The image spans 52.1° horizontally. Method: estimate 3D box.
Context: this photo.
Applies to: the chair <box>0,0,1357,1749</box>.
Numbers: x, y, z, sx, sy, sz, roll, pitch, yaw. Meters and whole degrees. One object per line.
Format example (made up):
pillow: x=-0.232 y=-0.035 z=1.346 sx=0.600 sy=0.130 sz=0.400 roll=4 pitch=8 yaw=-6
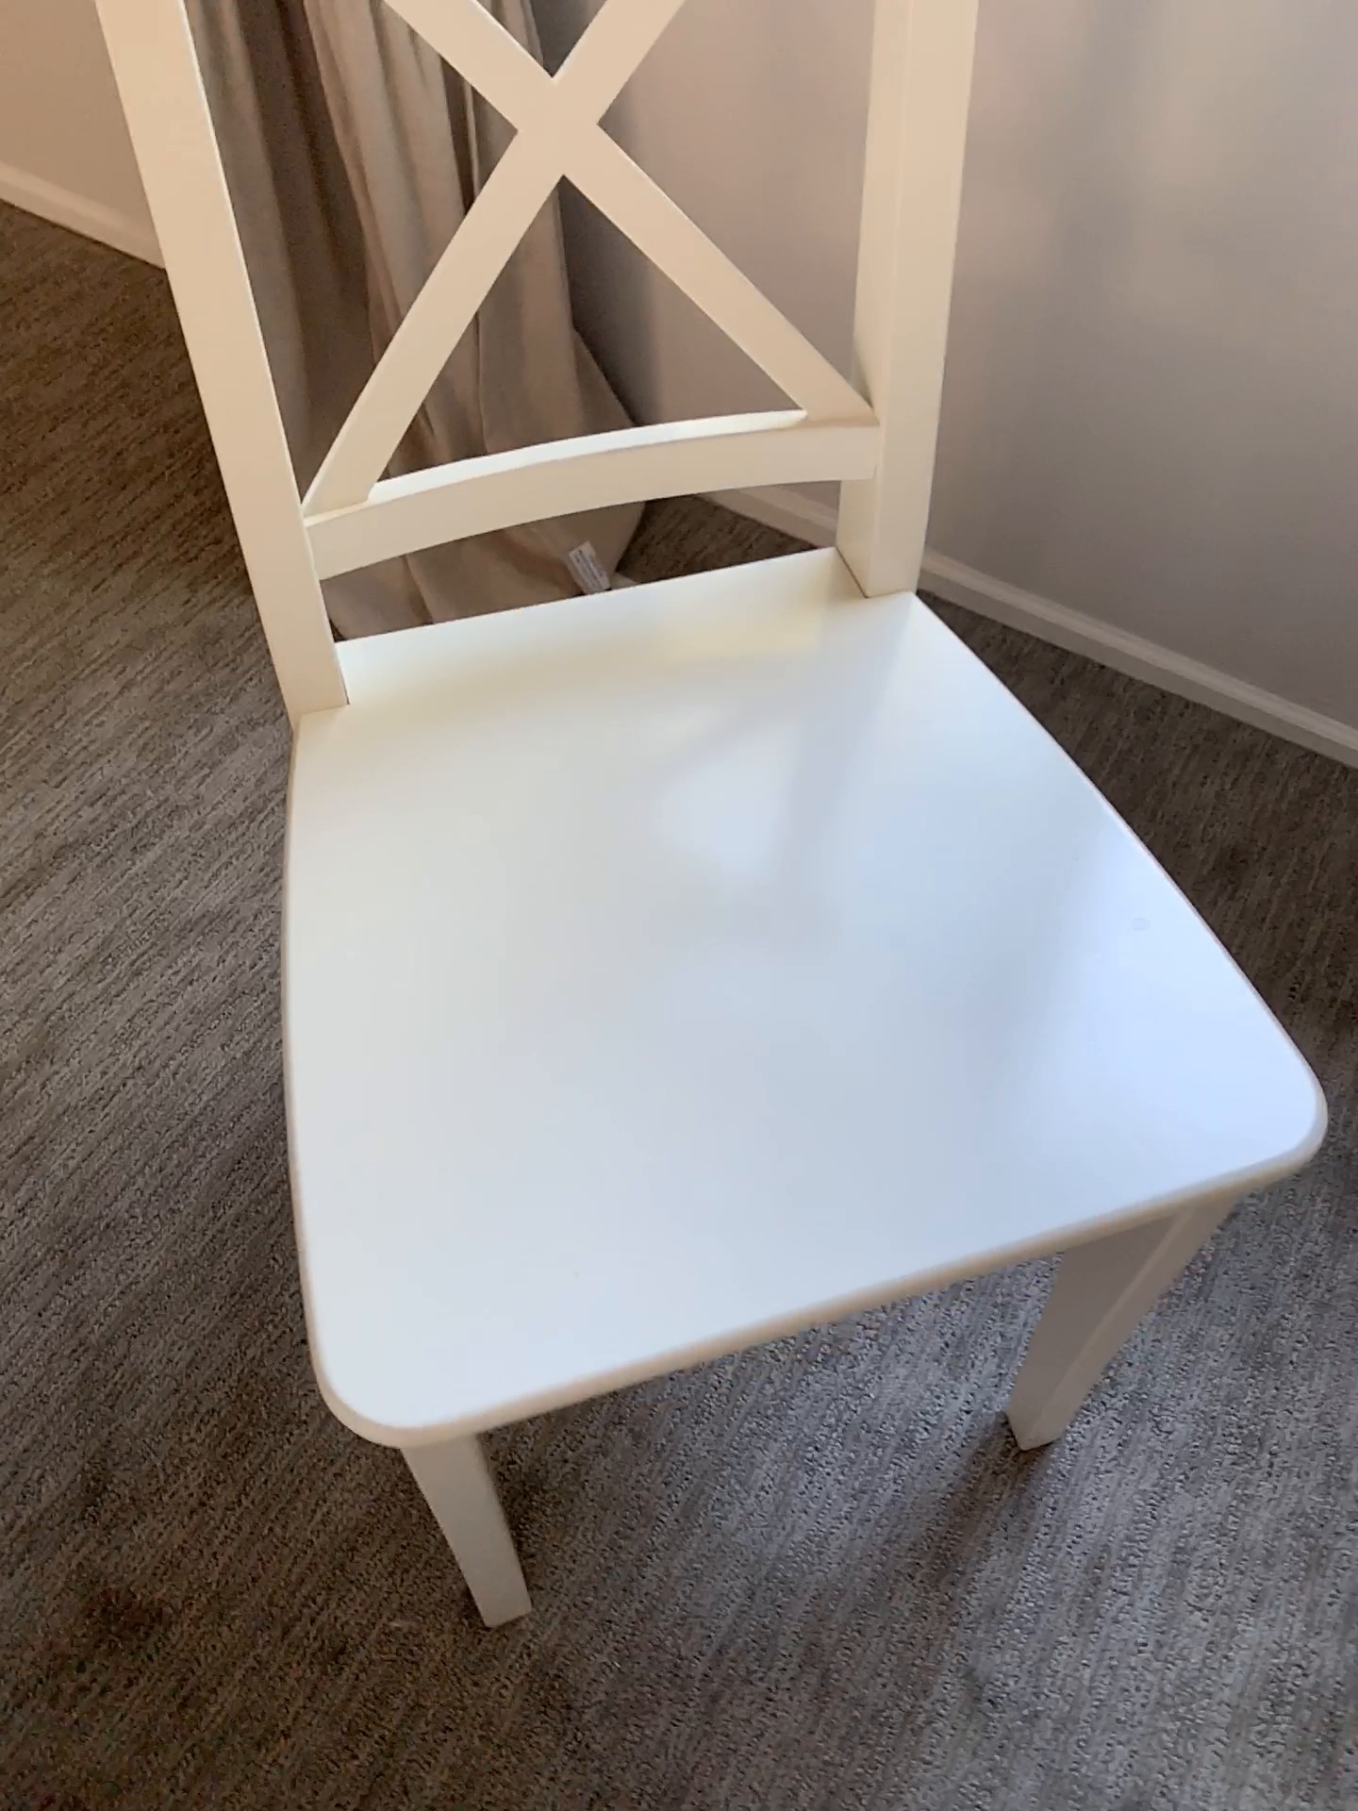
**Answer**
chair: x=0.017 y=-0.055 z=0.578 sx=0.570 sy=0.857 sz=0.482 roll=-13 pitch=55 yaw=-10
